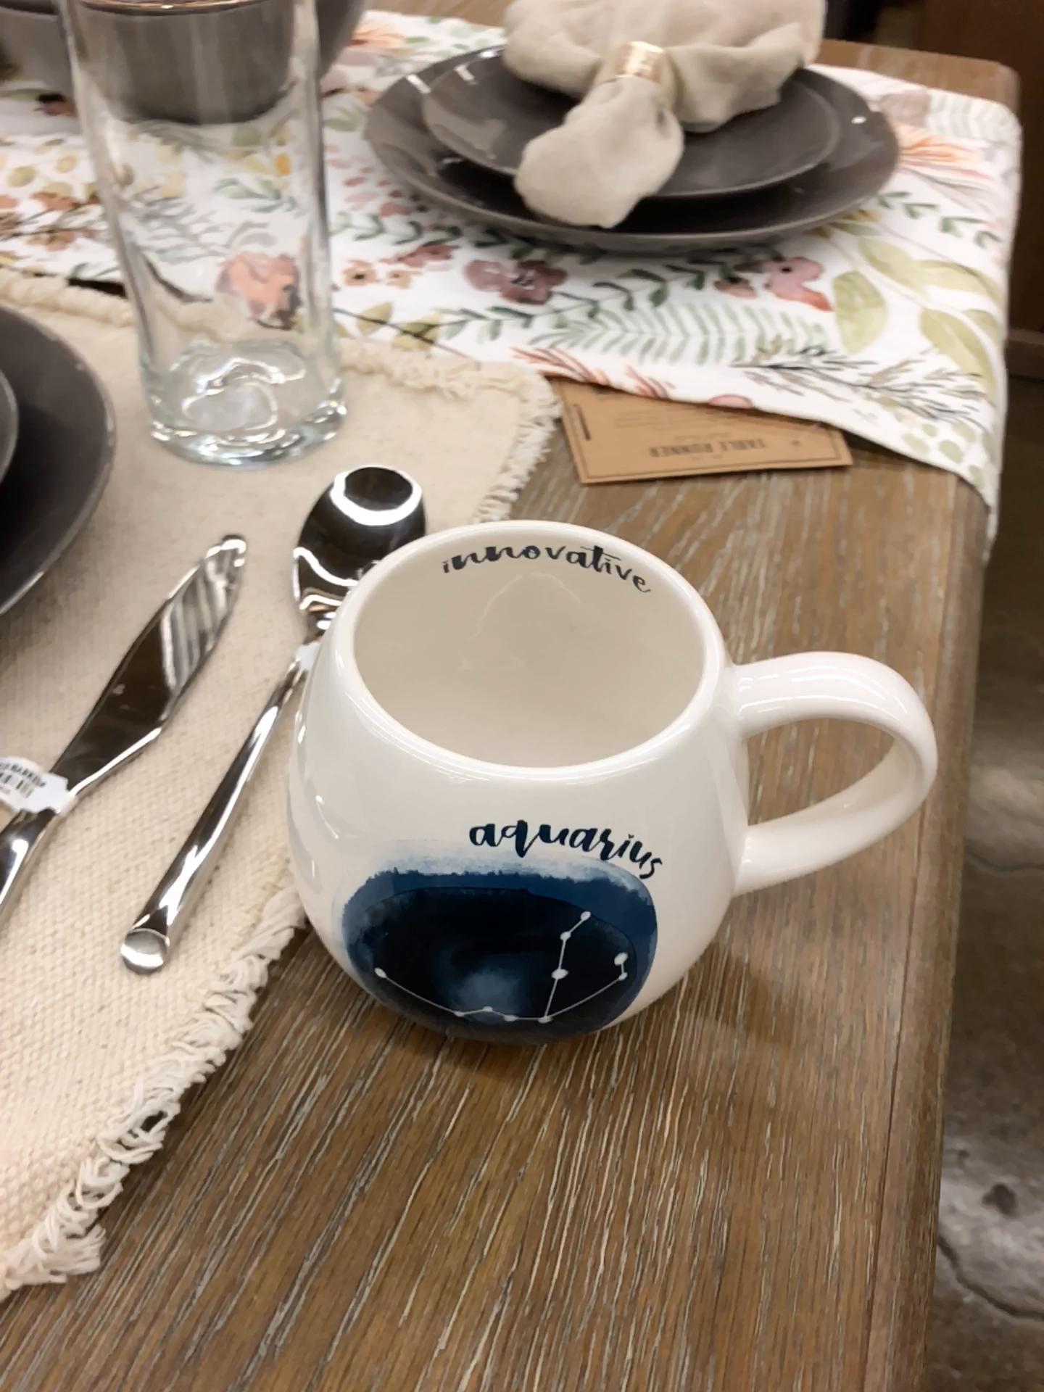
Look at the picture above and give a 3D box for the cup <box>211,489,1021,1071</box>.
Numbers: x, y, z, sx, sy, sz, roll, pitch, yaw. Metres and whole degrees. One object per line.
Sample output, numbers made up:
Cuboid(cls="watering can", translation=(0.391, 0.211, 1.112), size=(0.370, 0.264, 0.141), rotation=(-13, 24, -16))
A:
Cuboid(cls="cup", translation=(0.012, 0.016, 0.247), size=(0.134, 0.081, 0.083), rotation=(-3, 45, -6))
